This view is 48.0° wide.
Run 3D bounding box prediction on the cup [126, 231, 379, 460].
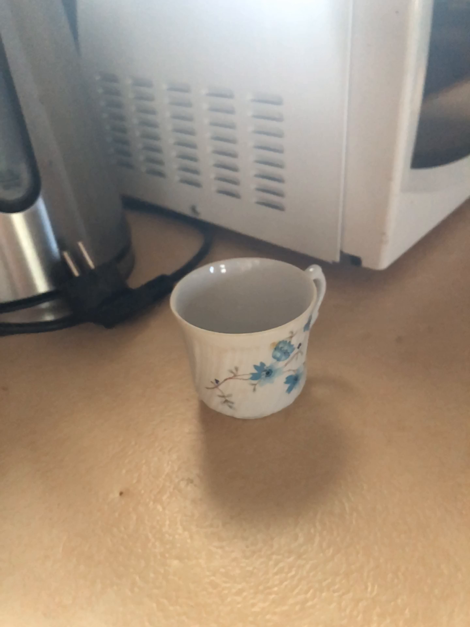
[{"bbox_3d":[0.009,0.008,0.251,0.090,0.050,0.070,-25,39,-28],"label":"cup"}]
